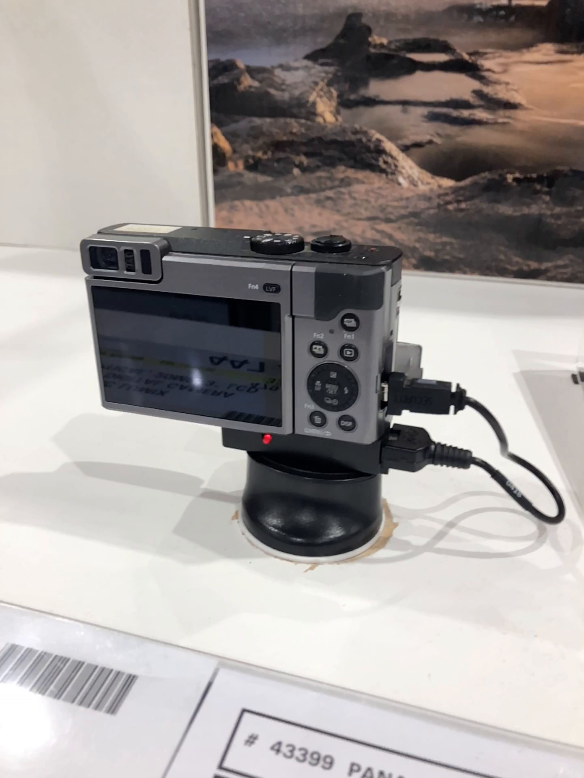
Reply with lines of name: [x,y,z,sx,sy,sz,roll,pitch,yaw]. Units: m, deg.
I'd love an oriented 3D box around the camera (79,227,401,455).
camera: [-0.018,-0.020,0.236,0.107,0.065,0.030,8,25,17]
